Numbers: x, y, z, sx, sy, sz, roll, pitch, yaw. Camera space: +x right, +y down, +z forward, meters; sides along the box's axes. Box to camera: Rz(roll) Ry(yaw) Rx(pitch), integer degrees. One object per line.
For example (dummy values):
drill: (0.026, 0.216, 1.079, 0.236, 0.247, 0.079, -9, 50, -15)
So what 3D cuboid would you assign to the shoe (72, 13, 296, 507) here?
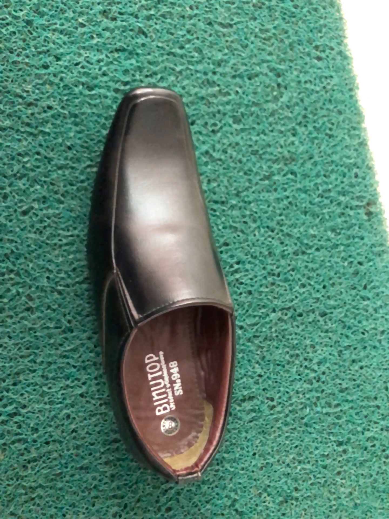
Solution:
shoe: (-0.019, -0.002, 0.316, 0.110, 0.130, 0.270, -5, 90, -18)
